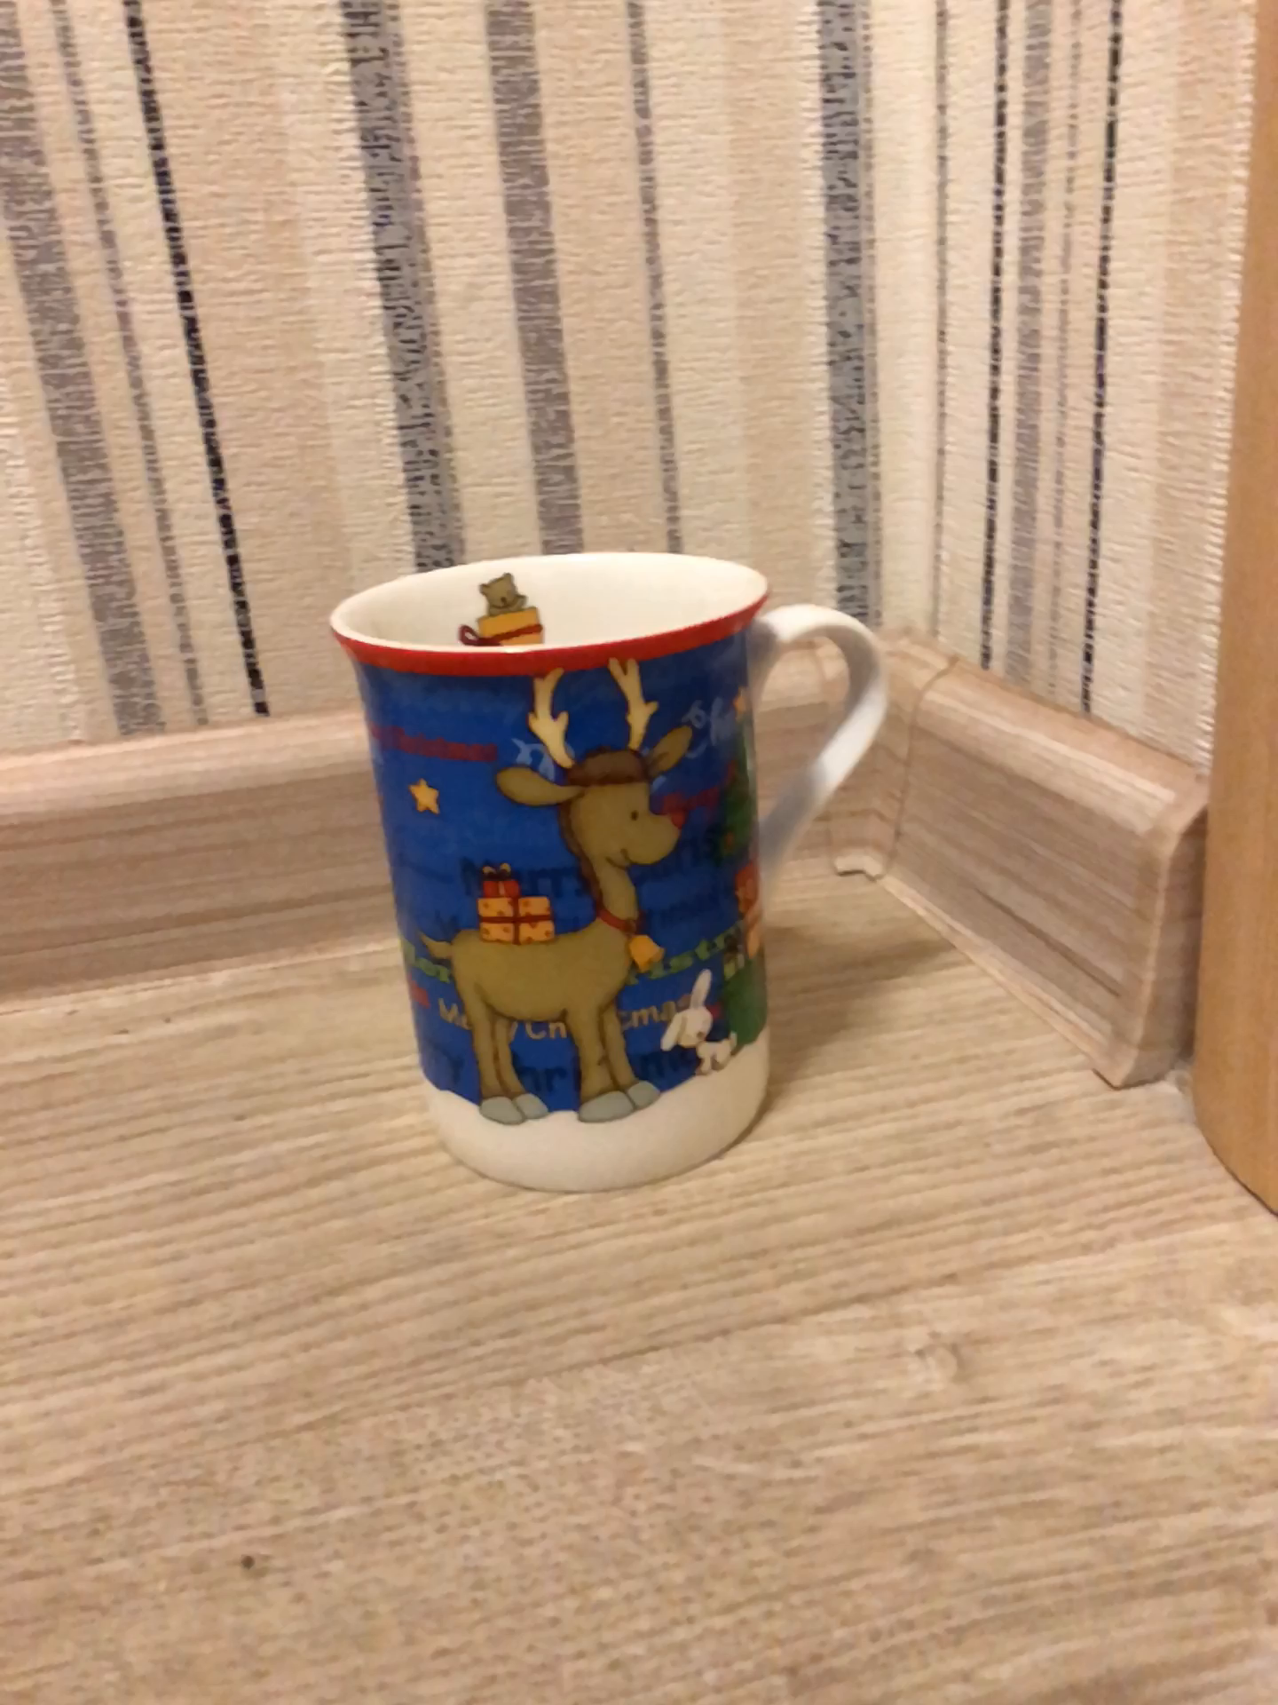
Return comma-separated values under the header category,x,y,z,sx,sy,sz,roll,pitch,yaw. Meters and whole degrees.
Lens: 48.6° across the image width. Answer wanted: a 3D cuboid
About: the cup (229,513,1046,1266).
category,x,y,z,sx,sy,sz,roll,pitch,yaw
cup,-0.001,-0.004,0.269,0.121,0.094,0.087,-14,23,-22
